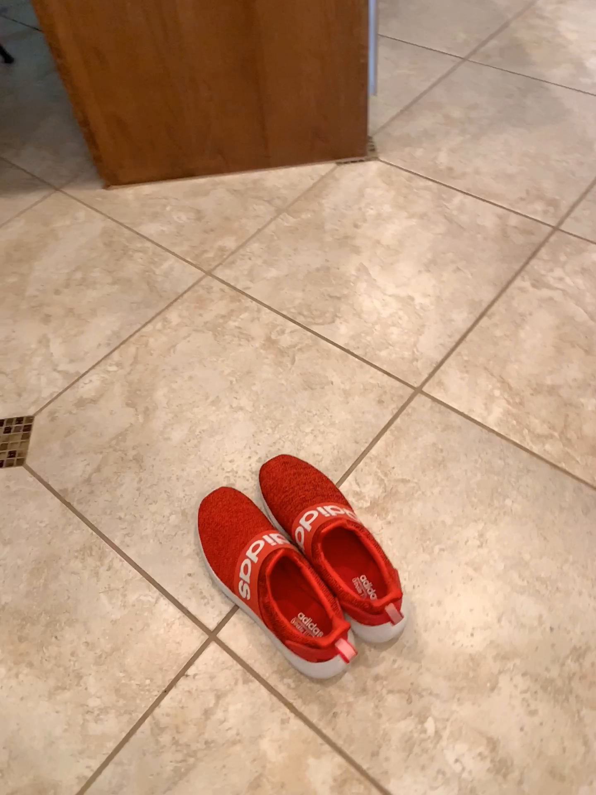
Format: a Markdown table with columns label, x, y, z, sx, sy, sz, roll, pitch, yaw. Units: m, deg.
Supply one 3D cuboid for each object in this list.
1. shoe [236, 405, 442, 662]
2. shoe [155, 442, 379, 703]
| label | x | y | z | sx | sy | sz | roll | pitch | yaw |
| --- | --- | --- | --- | --- | --- | --- | --- | --- | --- |
| shoe | 0.045 | 0.173 | 0.821 | 0.117 | 0.119 | 0.301 | -27 | 56 | -15 |
| shoe | -0.044 | 0.218 | 0.790 | 0.117 | 0.119 | 0.301 | -35 | 58 | -19 |
